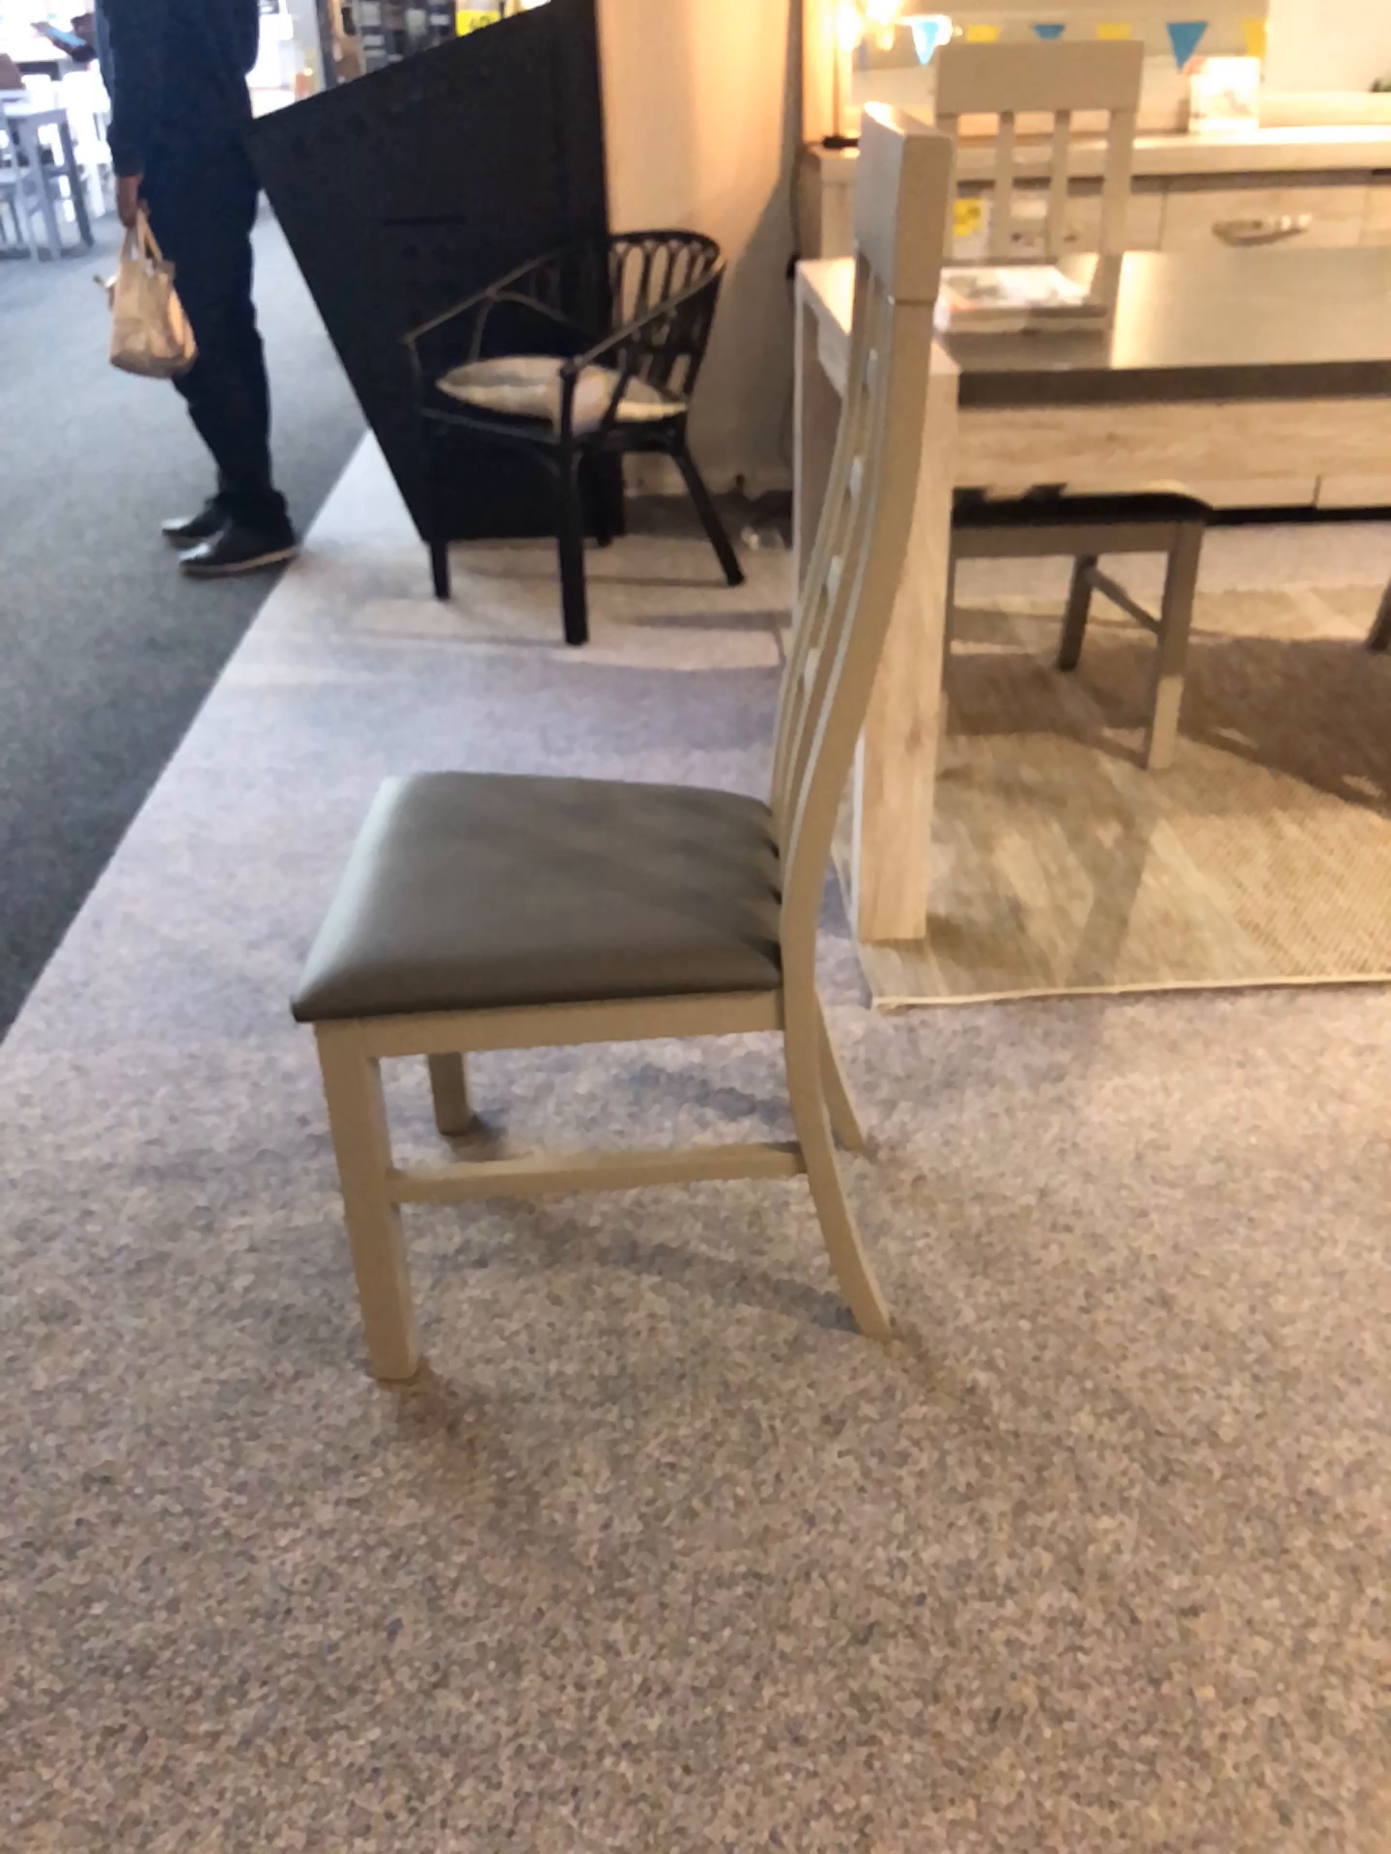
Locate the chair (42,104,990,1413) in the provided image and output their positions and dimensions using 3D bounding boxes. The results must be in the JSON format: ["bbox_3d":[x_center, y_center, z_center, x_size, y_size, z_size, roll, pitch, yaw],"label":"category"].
[{"bbox_3d":[-0.083,-0.137,1.353,0.550,1.014,0.513,-1,29,2],"label":"chair"}]
